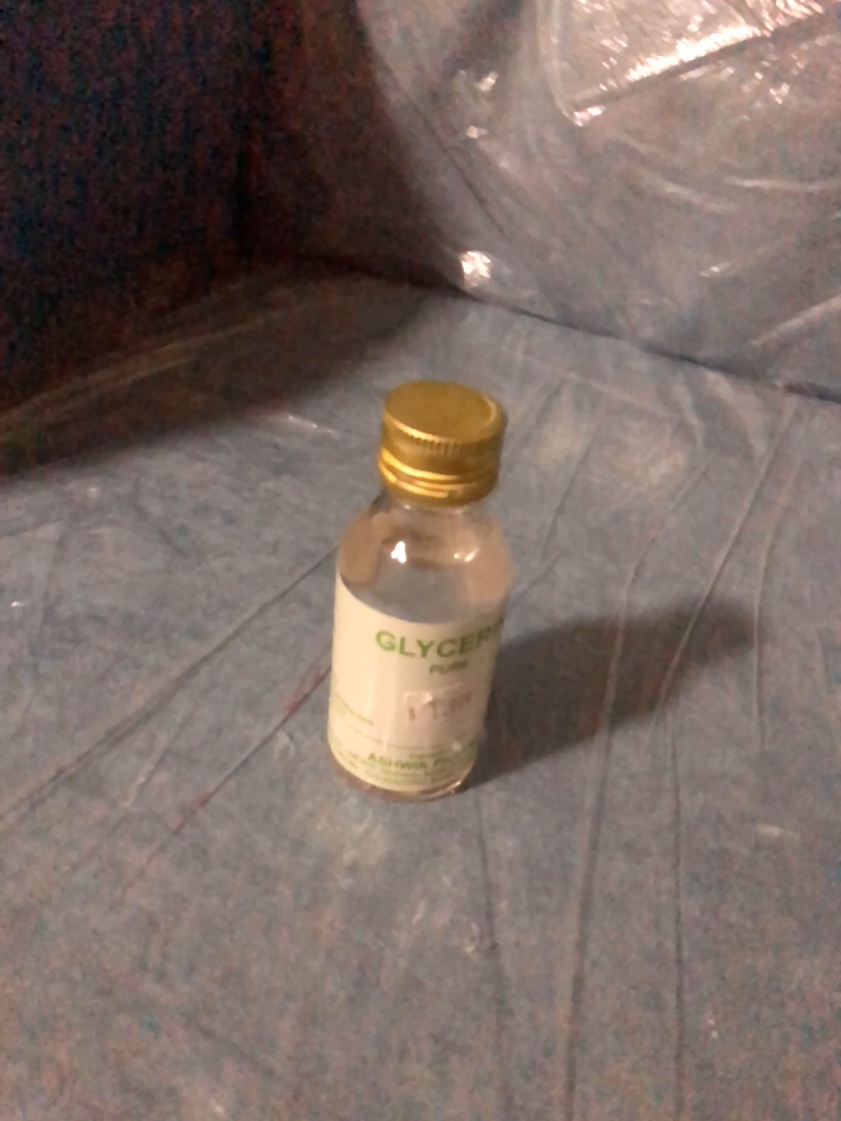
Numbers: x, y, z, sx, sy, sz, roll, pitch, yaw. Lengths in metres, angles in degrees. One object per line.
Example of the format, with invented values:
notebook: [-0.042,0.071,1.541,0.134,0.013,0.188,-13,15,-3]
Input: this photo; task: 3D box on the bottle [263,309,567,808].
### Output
bottle: [-0.007,0.002,0.209,0.050,0.100,0.050,3,40,-2]
